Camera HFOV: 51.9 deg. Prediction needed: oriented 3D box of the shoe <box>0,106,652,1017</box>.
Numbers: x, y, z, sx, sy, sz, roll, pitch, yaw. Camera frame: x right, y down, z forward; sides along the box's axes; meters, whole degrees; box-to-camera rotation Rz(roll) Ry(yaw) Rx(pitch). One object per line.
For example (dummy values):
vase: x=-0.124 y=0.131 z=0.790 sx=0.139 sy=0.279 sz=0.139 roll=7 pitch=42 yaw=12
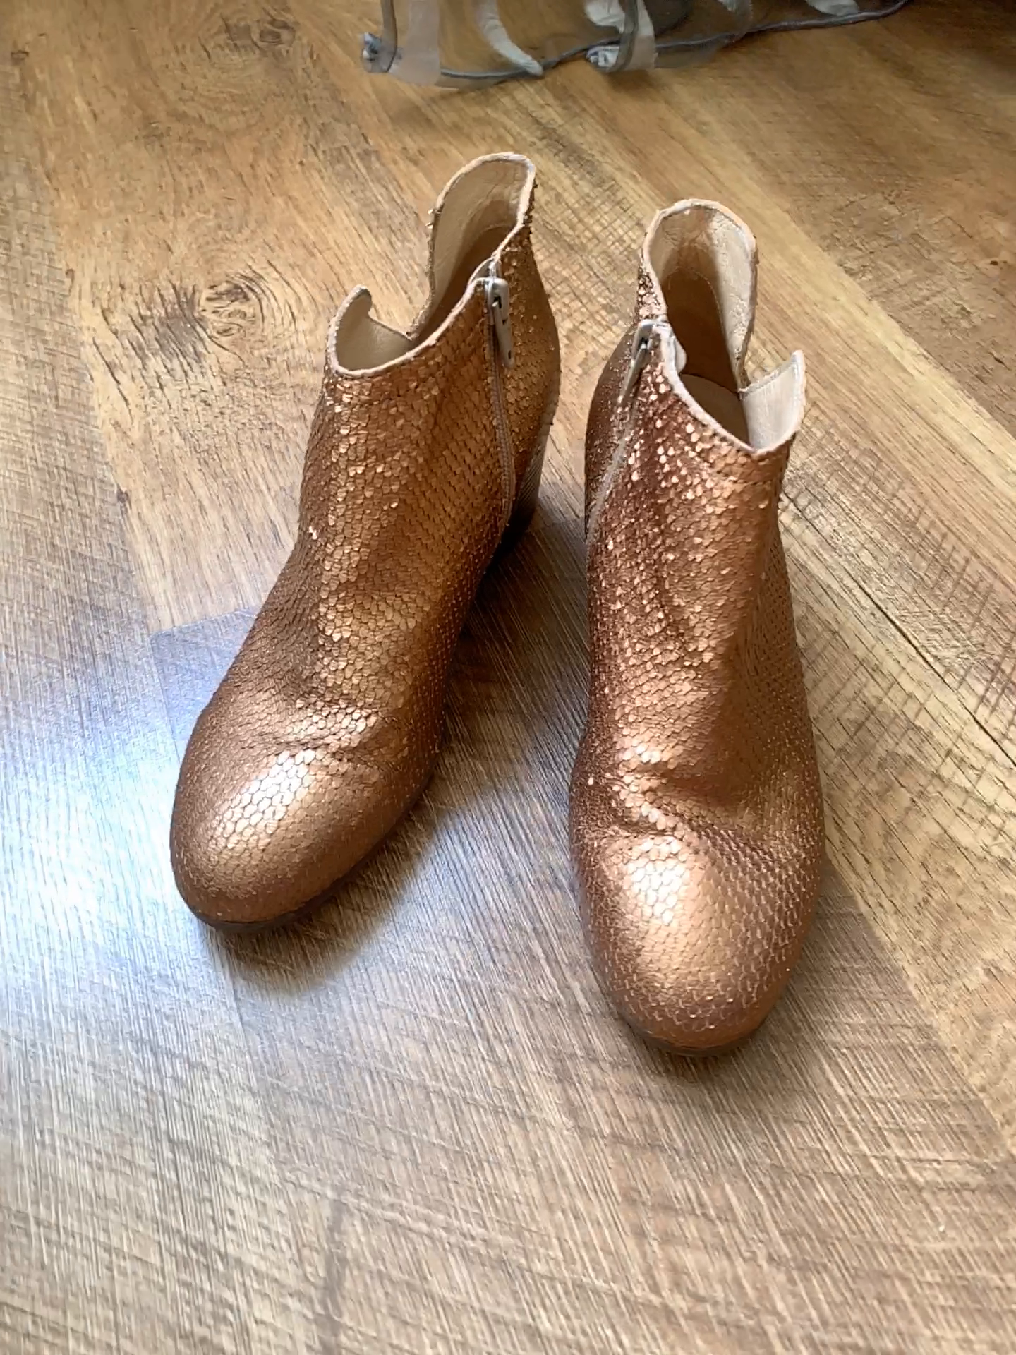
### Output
shoe: x=-0.041 y=-0.042 z=0.298 sx=0.080 sy=0.130 sz=0.221 roll=20 pitch=55 yaw=13

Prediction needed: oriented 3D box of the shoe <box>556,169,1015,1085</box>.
shoe: x=0.058 y=-0.021 z=0.290 sx=0.080 sy=0.130 sz=0.221 roll=1 pitch=53 yaw=0
